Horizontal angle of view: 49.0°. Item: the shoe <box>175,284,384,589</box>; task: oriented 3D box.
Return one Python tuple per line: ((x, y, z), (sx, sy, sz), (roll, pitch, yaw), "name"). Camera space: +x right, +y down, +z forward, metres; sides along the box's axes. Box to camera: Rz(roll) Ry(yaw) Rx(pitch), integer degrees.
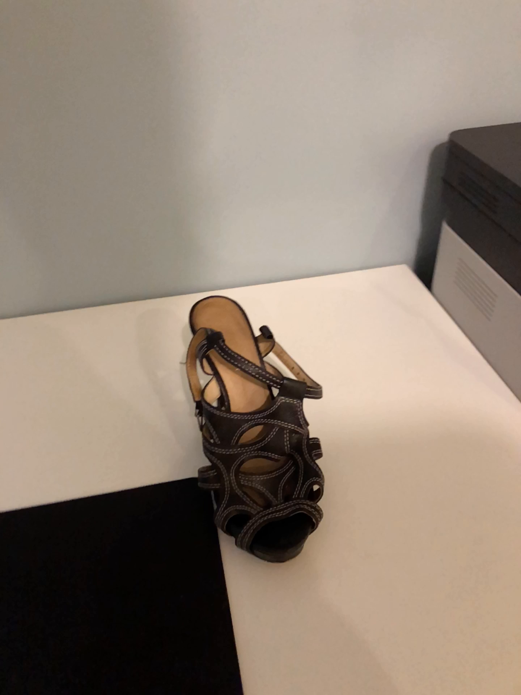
((0.002, 0.055, 0.464), (0.100, 0.099, 0.221), (-10, 39, -11), "shoe")
